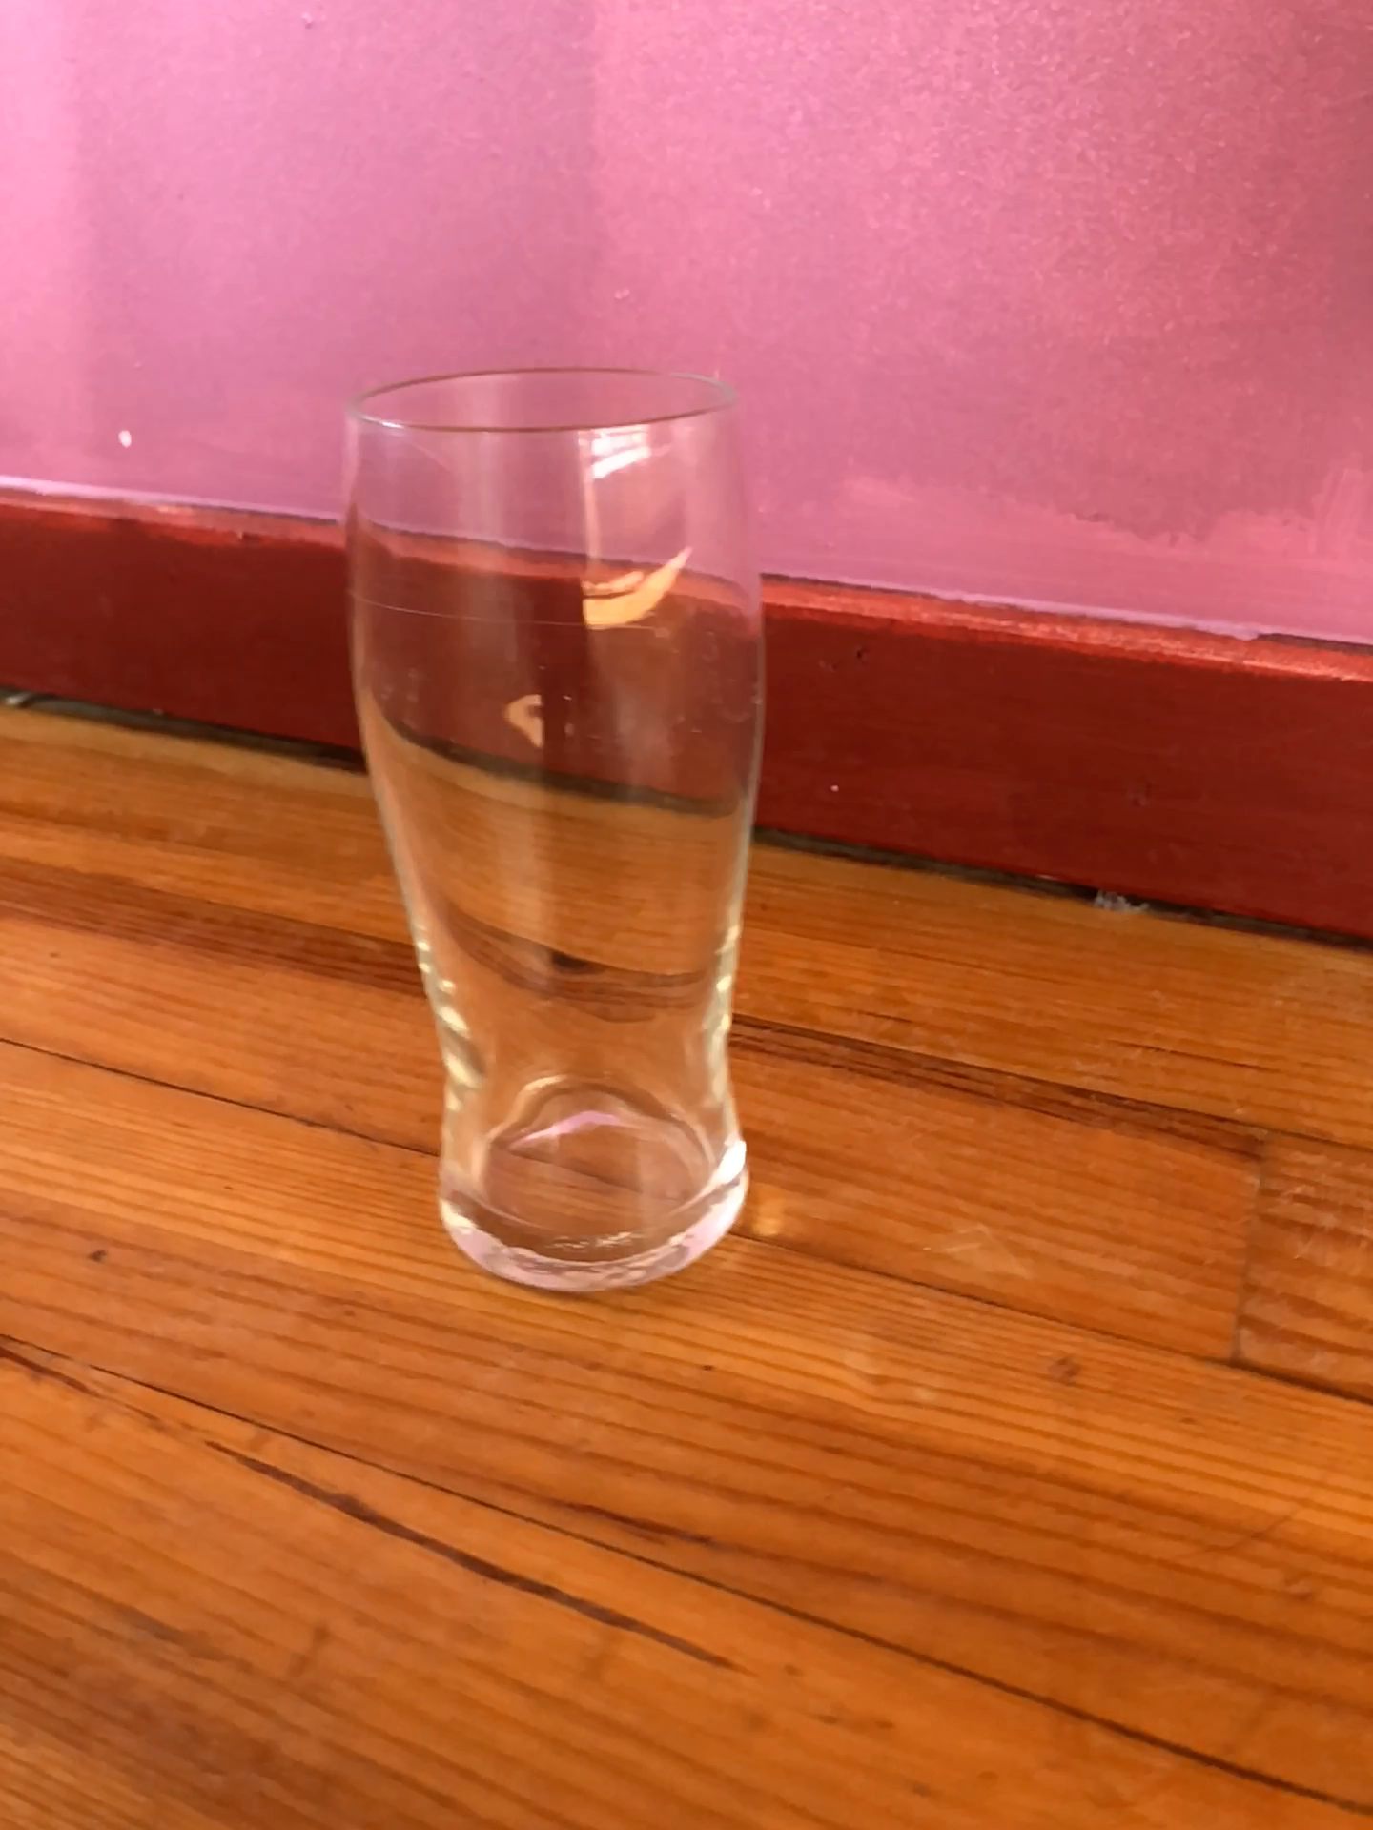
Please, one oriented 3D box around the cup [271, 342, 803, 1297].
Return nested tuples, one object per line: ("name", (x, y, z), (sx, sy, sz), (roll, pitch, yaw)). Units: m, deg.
("cup", (-0.017, -0.016, 0.256), (0.063, 0.143, 0.061), (-1, 27, 0))
